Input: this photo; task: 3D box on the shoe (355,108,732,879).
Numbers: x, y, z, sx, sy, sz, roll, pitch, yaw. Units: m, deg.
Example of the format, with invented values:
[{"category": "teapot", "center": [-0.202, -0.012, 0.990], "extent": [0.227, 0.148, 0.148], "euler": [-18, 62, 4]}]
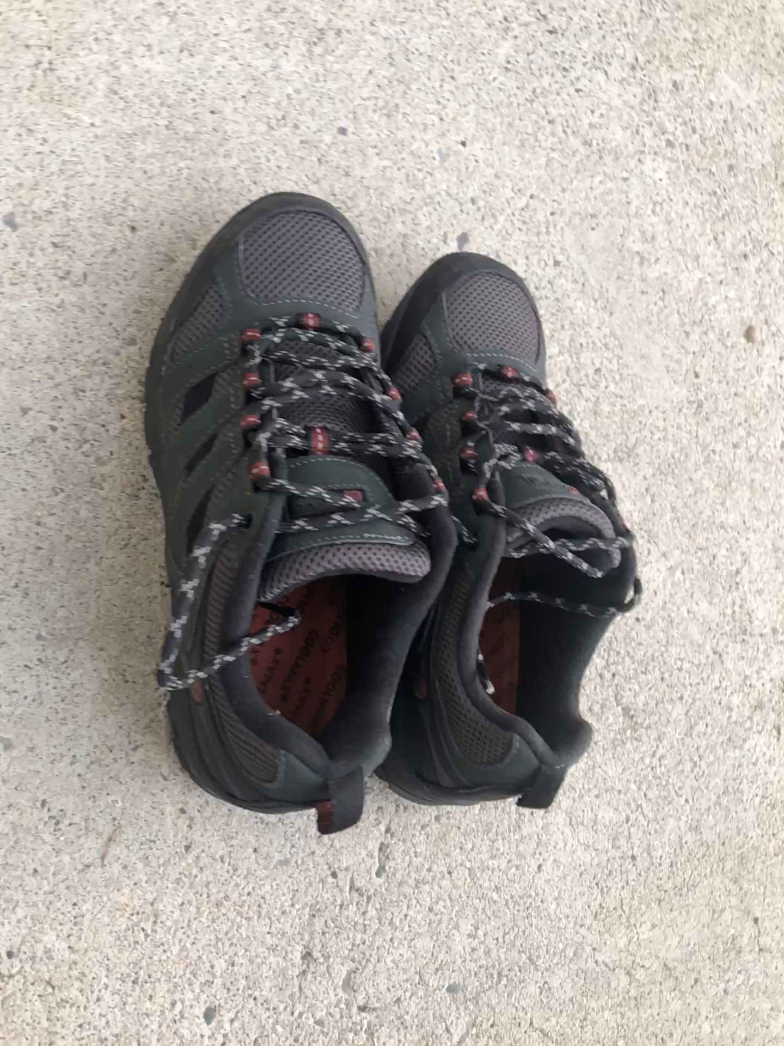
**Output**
[{"category": "shoe", "center": [0.064, -0.011, 0.409], "extent": [0.120, 0.110, 0.300], "euler": [2, 82, -29]}]

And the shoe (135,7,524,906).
[{"category": "shoe", "center": [-0.033, -0.023, 0.362], "extent": [0.120, 0.110, 0.302], "euler": [2, 82, -29]}]
